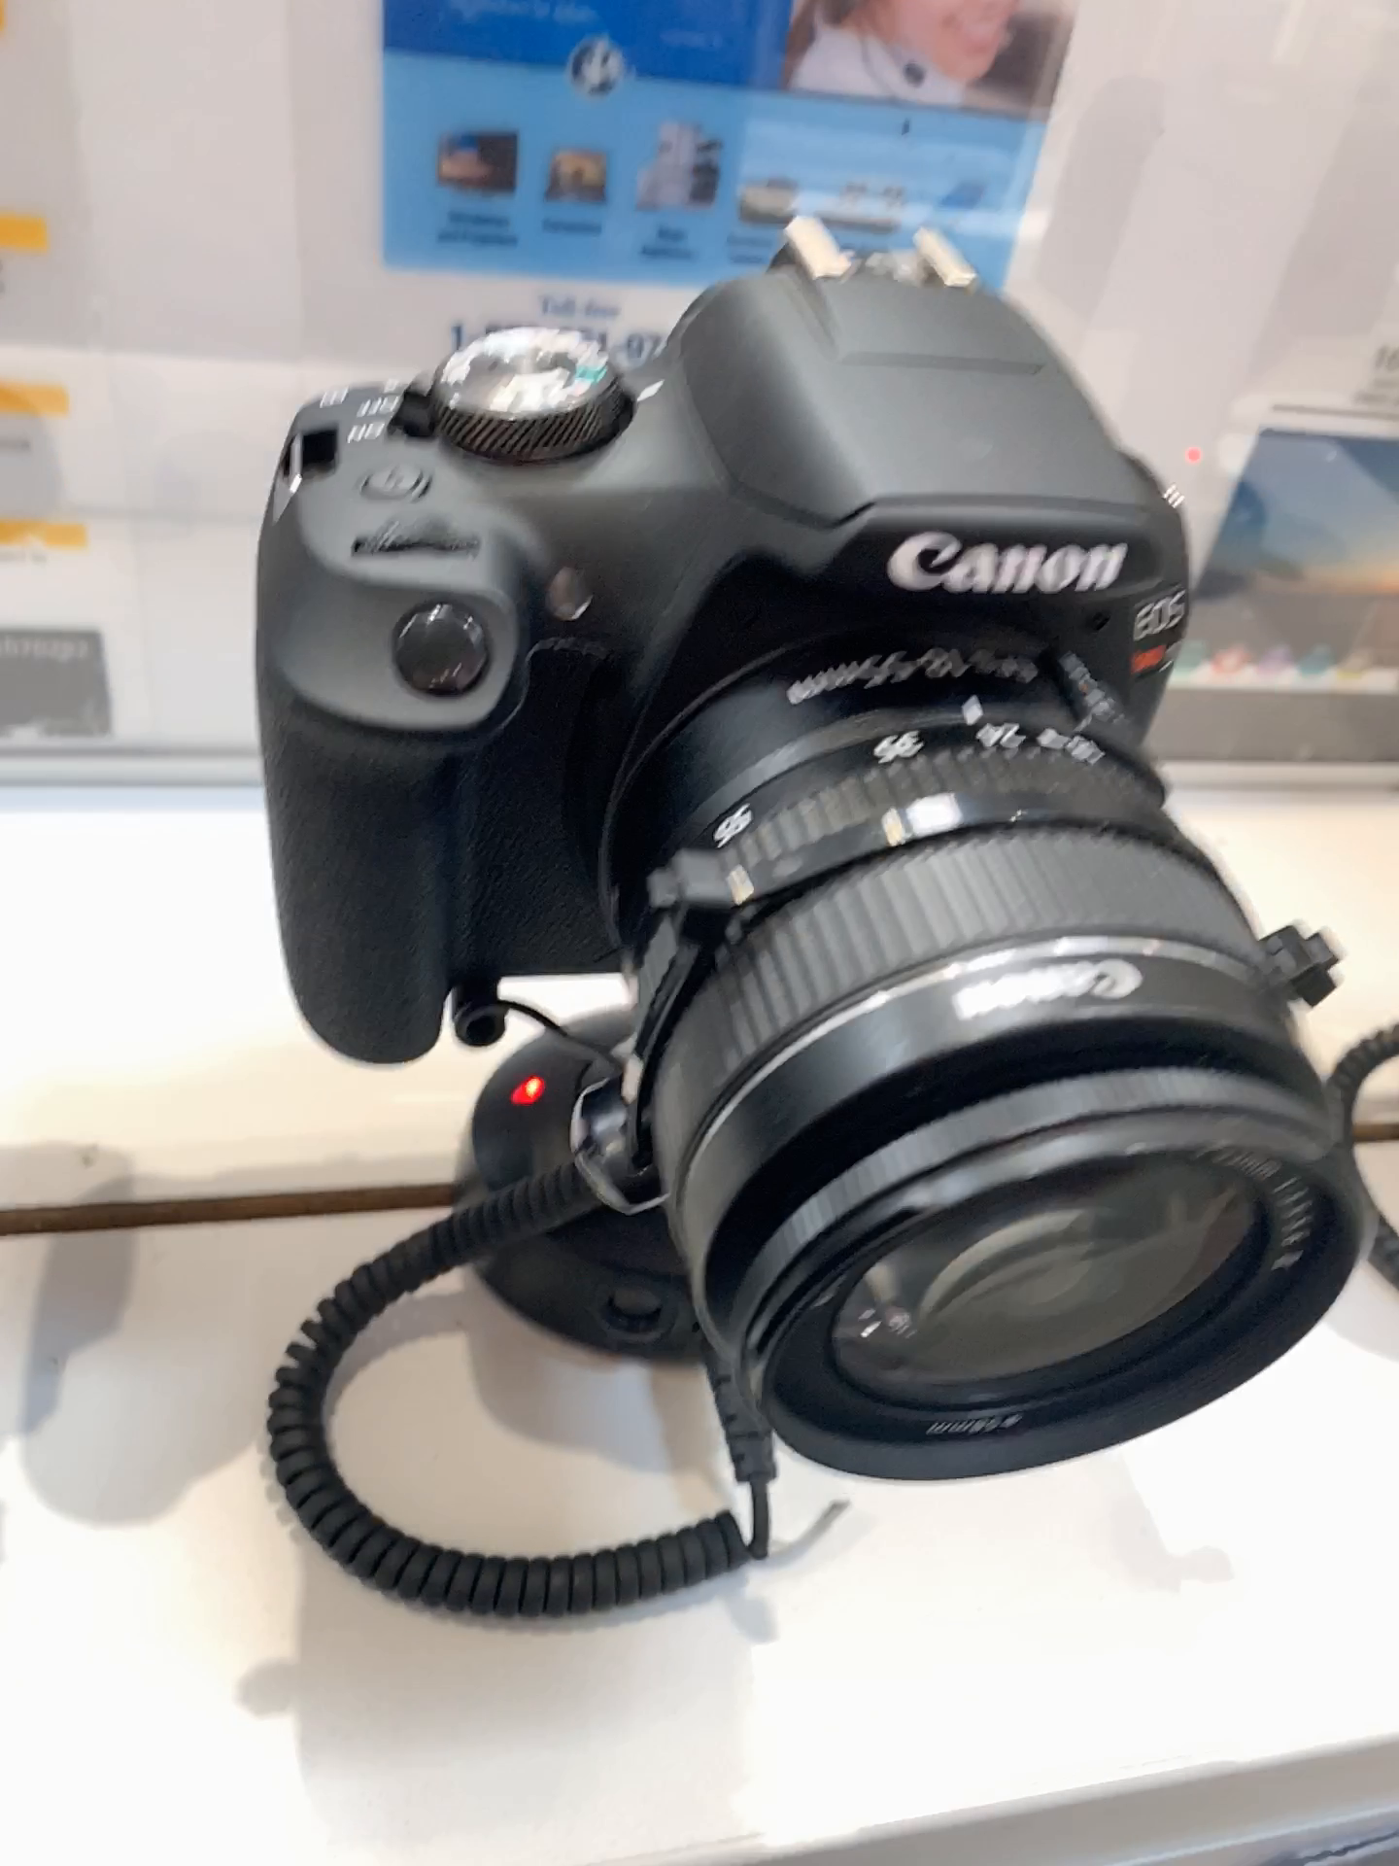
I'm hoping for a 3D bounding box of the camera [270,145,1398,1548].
[{"bbox_3d":[0.015,-0.013,0.173,0.122,0.104,0.110,-1,43,-15],"label":"camera"}]
